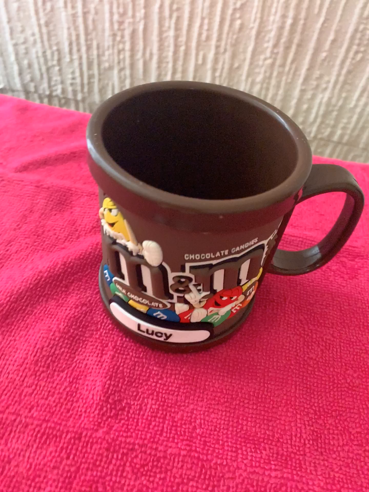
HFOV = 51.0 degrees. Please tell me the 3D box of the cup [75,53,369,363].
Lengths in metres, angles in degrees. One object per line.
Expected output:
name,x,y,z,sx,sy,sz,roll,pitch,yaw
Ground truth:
cup,0.021,-0.014,0.177,0.120,0.099,0.091,0,48,-8
